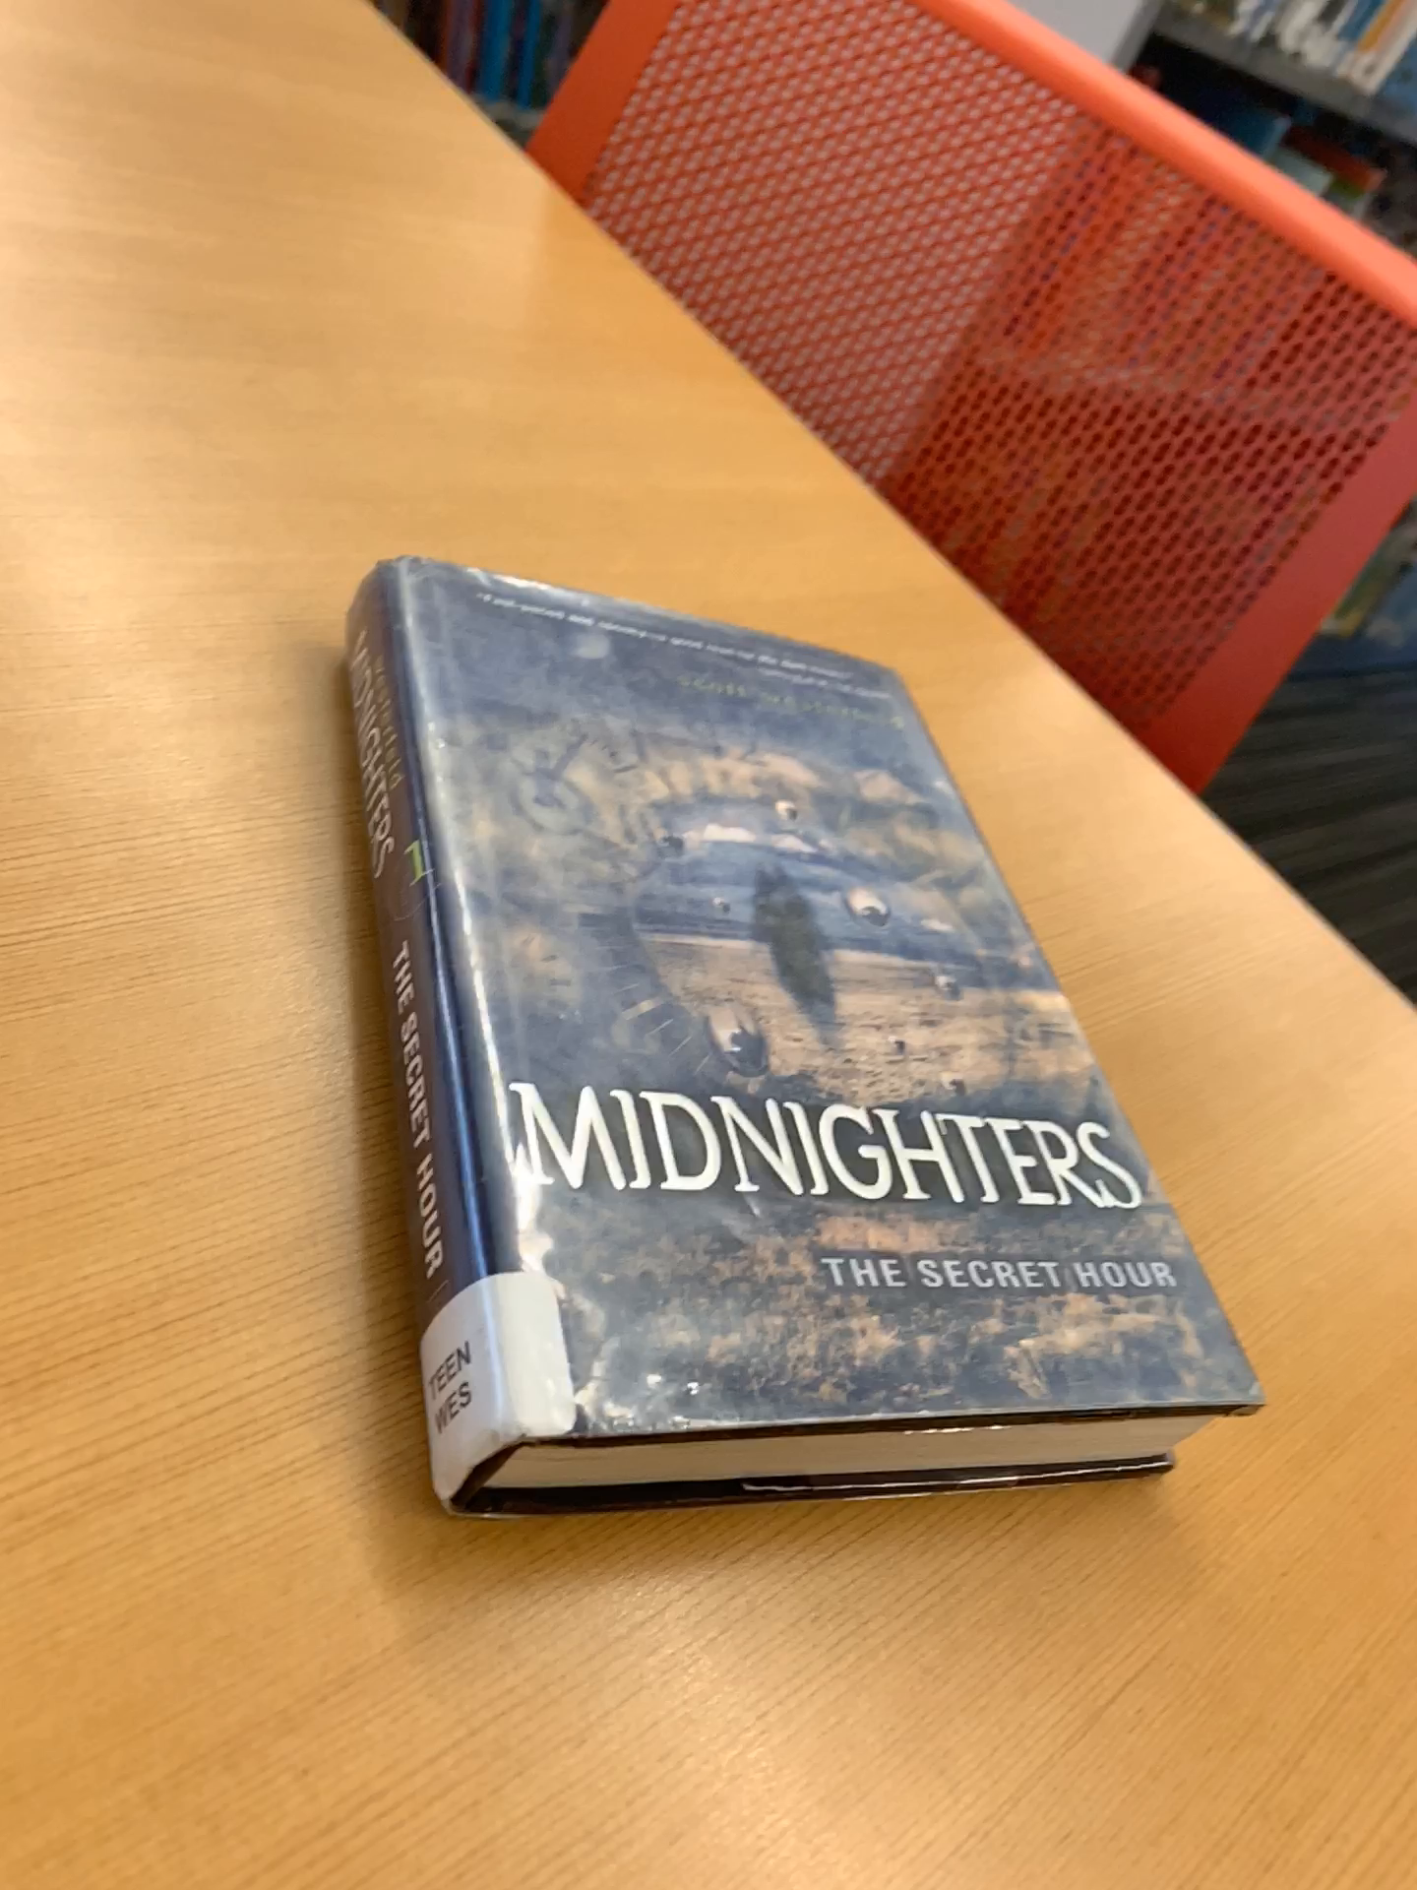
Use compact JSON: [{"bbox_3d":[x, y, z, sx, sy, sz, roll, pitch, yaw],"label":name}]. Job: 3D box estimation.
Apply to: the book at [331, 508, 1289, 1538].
[{"bbox_3d":[0.006,0.003,0.311,0.151,0.036,0.221,7,45,-26],"label":"book"}]
